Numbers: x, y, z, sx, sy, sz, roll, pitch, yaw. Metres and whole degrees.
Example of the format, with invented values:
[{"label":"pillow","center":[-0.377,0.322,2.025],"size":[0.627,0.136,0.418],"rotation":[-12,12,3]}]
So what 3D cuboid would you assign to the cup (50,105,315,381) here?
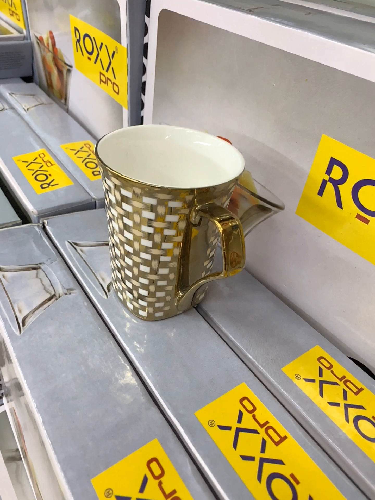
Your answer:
[{"label":"cup","center":[-0.011,-0.013,0.219],"size":[0.080,0.089,0.111],"rotation":[-22,48,-32]}]
